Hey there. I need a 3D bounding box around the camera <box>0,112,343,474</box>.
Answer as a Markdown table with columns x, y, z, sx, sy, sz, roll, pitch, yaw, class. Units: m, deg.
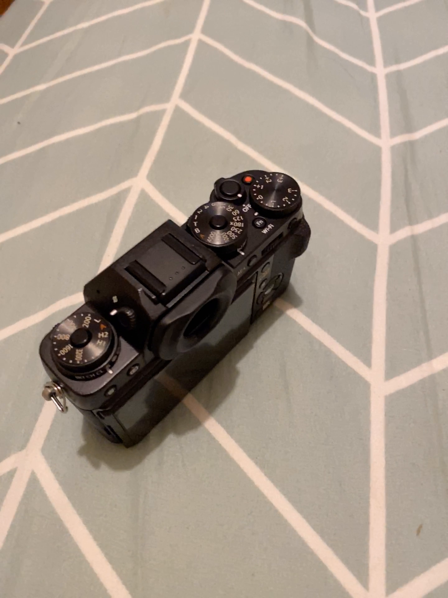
| x | y | z | sx | sy | sz | roll | pitch | yaw | class |
| --- | --- | --- | --- | --- | --- | --- | --- | --- | --- |
| -0.019 | -0.002 | 0.210 | 0.054 | 0.082 | 0.142 | 39 | 67 | 19 | camera |
